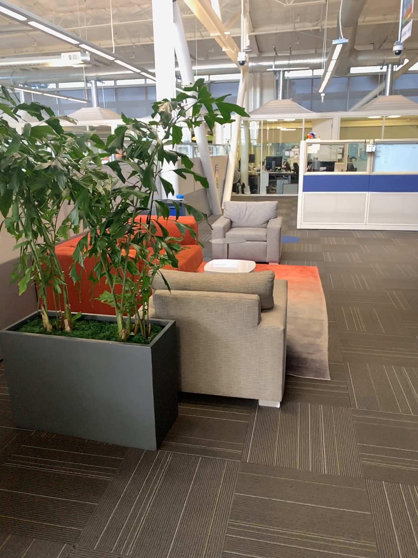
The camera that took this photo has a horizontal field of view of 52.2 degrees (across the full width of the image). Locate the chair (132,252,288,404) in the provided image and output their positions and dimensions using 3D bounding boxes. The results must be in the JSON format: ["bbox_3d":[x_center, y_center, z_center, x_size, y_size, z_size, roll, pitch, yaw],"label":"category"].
[{"bbox_3d":[0.070,0.274,2.993,0.920,0.727,0.873,2,17,9],"label":"chair"}]
